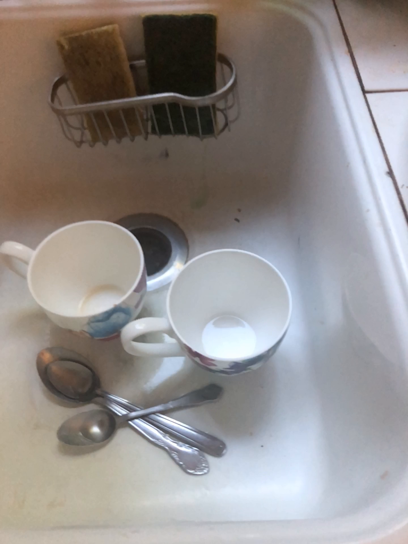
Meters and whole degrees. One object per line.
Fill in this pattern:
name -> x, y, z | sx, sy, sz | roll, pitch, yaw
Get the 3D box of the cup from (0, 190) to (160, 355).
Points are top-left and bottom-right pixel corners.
cup -> -0.126, -0.001, 0.409 | 0.140, 0.070, 0.101 | 13, 59, 9

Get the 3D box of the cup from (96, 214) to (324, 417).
cup -> 0.002, 0.034, 0.386 | 0.150, 0.070, 0.111 | -18, 59, -10
